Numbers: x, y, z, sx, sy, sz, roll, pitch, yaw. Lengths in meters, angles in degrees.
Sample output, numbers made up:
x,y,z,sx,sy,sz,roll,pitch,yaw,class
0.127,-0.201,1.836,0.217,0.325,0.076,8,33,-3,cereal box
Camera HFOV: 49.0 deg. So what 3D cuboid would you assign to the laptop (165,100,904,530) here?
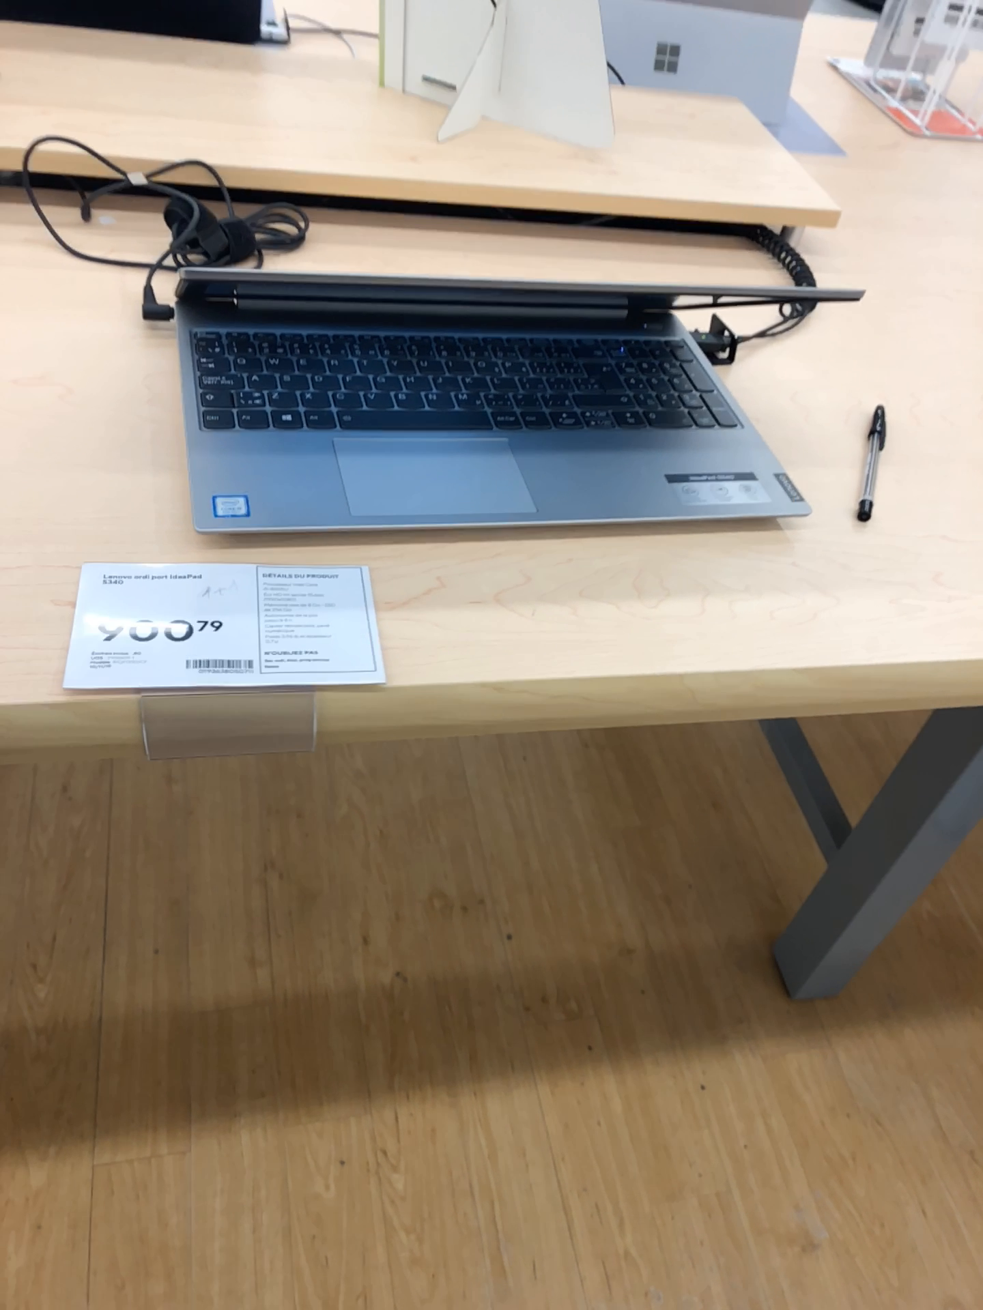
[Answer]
x,y,z,sx,sy,sz,roll,pitch,yaw,class
0.003,-0.199,0.622,0.351,0.122,0.234,-4,46,-16,laptop
